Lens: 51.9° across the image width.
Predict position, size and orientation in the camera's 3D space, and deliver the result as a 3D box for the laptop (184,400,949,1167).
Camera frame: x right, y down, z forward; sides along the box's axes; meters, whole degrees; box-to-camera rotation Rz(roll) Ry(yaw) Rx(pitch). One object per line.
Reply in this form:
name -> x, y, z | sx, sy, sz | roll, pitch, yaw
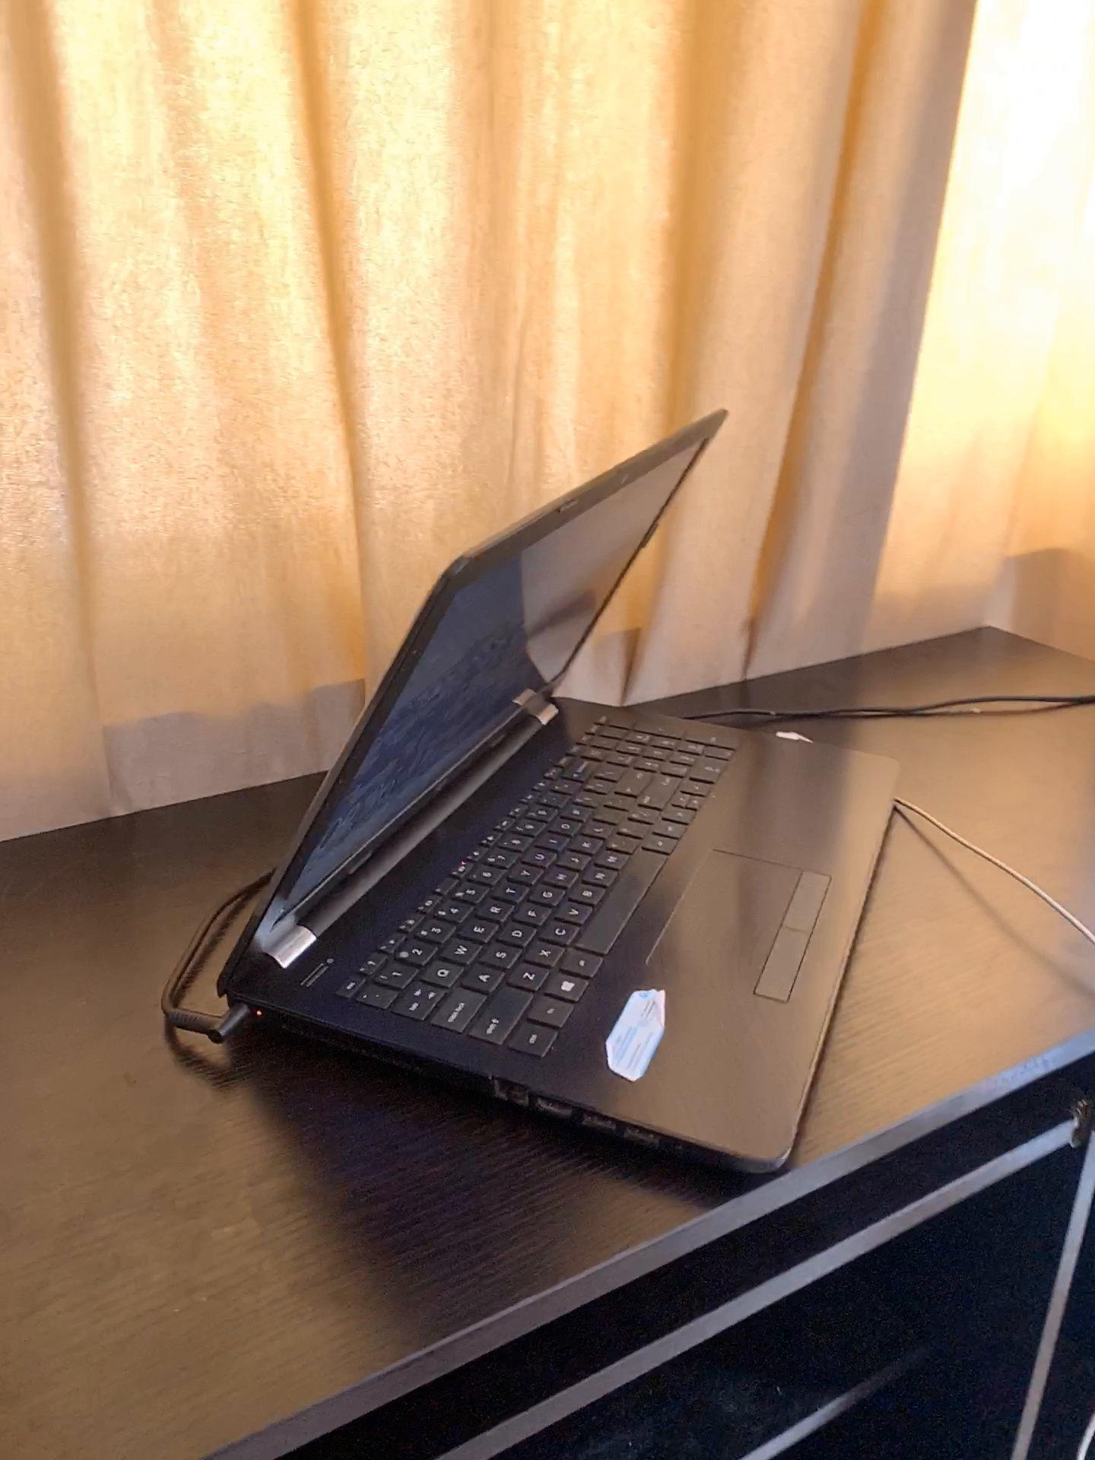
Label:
laptop -> 0.046, -0.025, 0.571 | 0.238, 0.201, 0.364 | 11, 27, 21
